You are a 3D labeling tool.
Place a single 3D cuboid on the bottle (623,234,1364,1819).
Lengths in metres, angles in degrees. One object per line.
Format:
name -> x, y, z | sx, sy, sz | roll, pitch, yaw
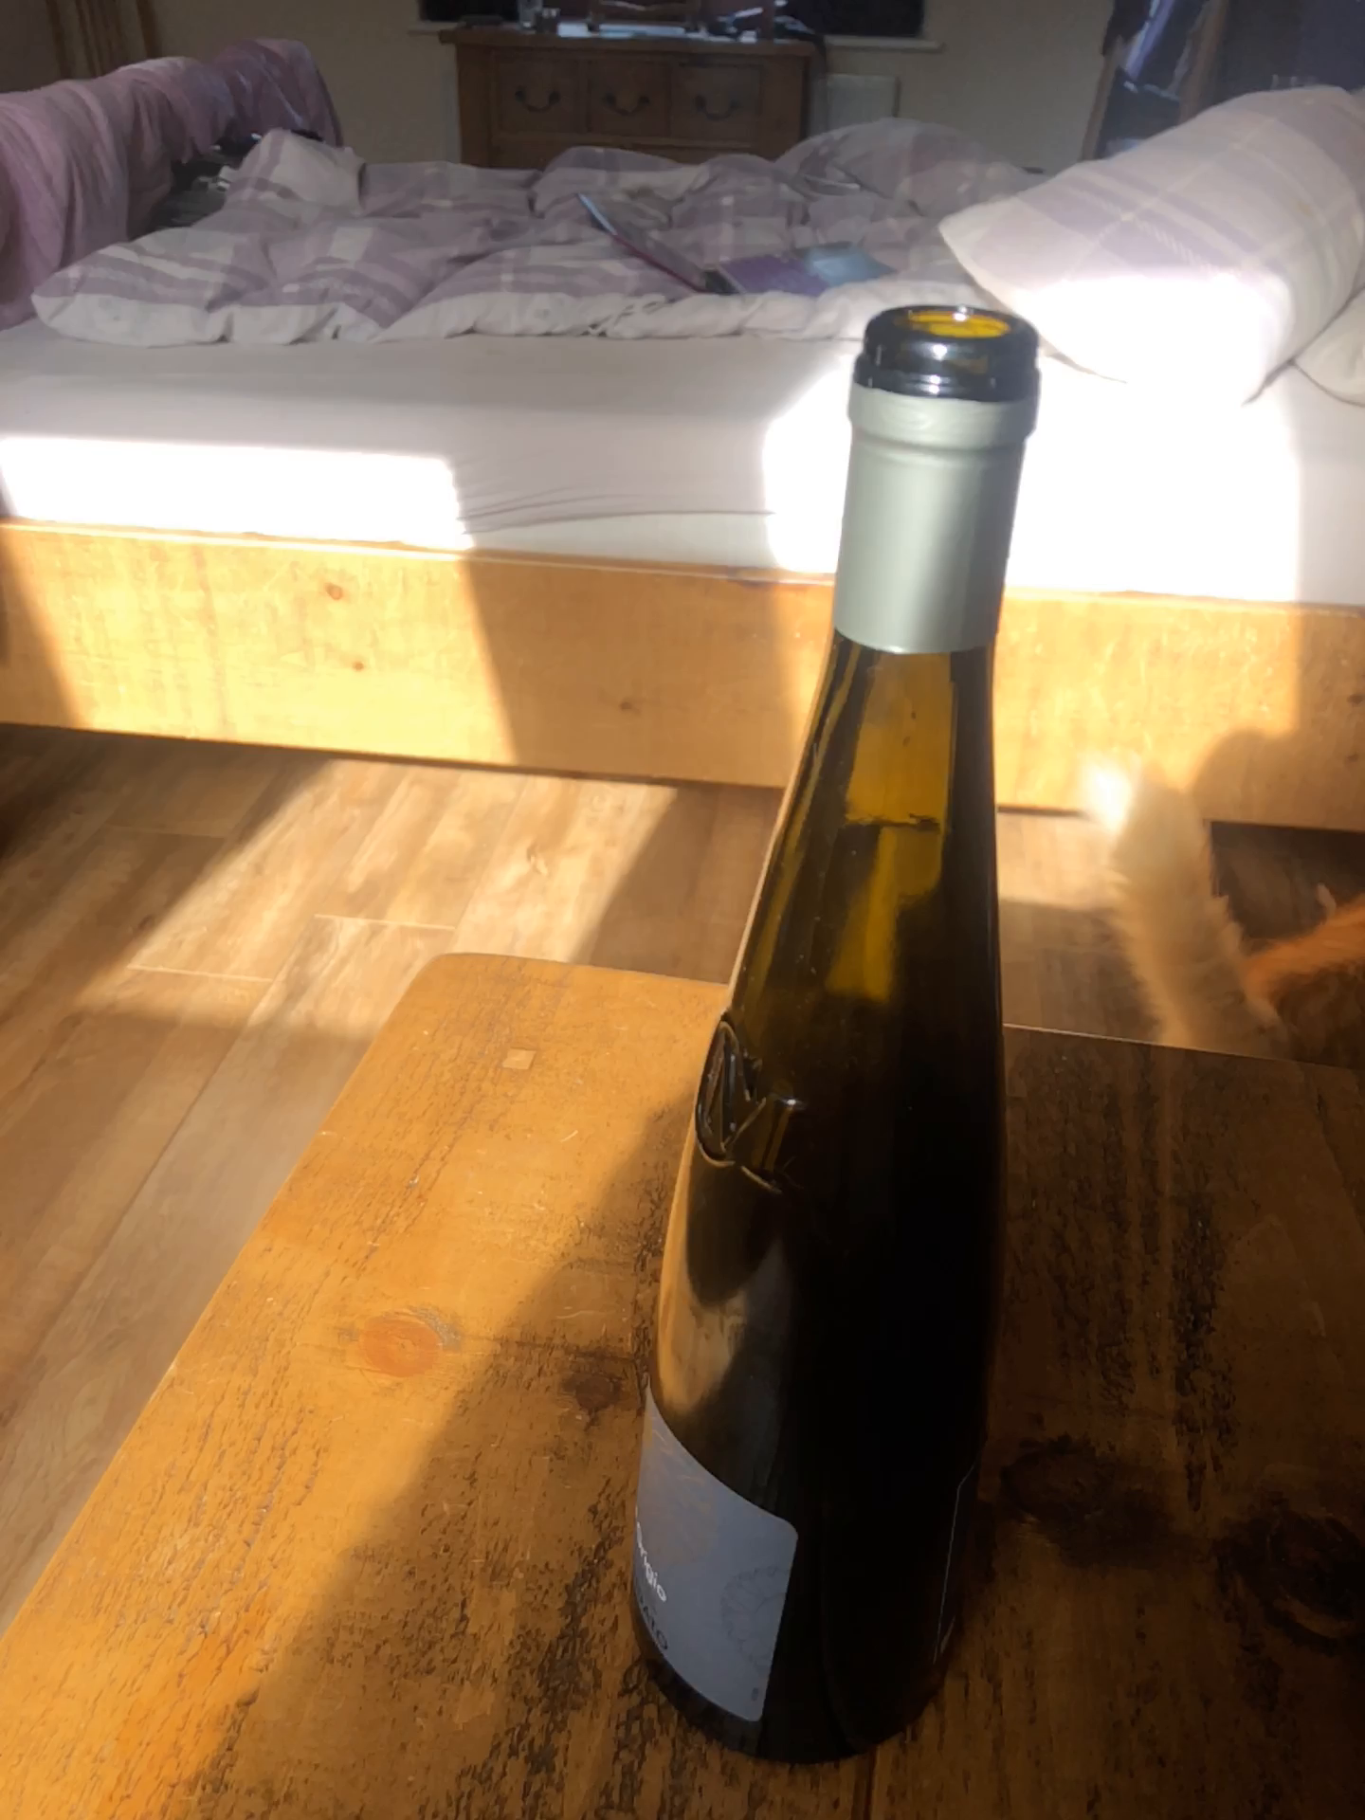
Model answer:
bottle -> 0.049, 0.057, 0.301 | 0.100, 0.337, 0.101 | 1, 32, -1
